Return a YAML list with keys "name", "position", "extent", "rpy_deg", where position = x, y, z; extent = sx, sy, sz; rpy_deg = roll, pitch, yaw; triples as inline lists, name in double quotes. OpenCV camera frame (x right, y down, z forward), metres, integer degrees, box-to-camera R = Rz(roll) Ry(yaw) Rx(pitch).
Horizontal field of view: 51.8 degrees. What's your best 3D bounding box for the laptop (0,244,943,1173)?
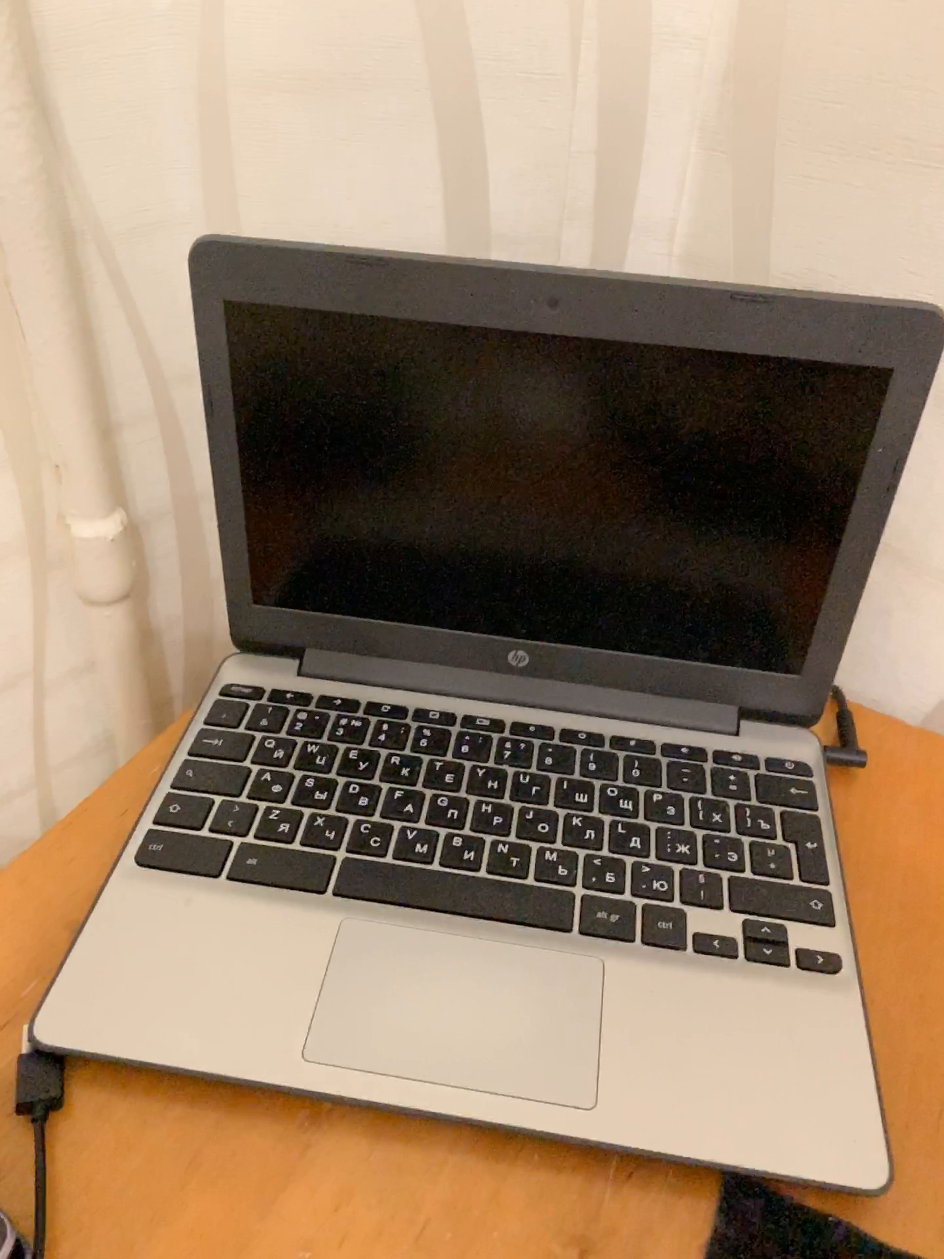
- name: "laptop"
  position: [0.011, 0.011, 0.327]
  extent: [0.271, 0.187, 0.207]
  rpy_deg: [8, 39, 5]
